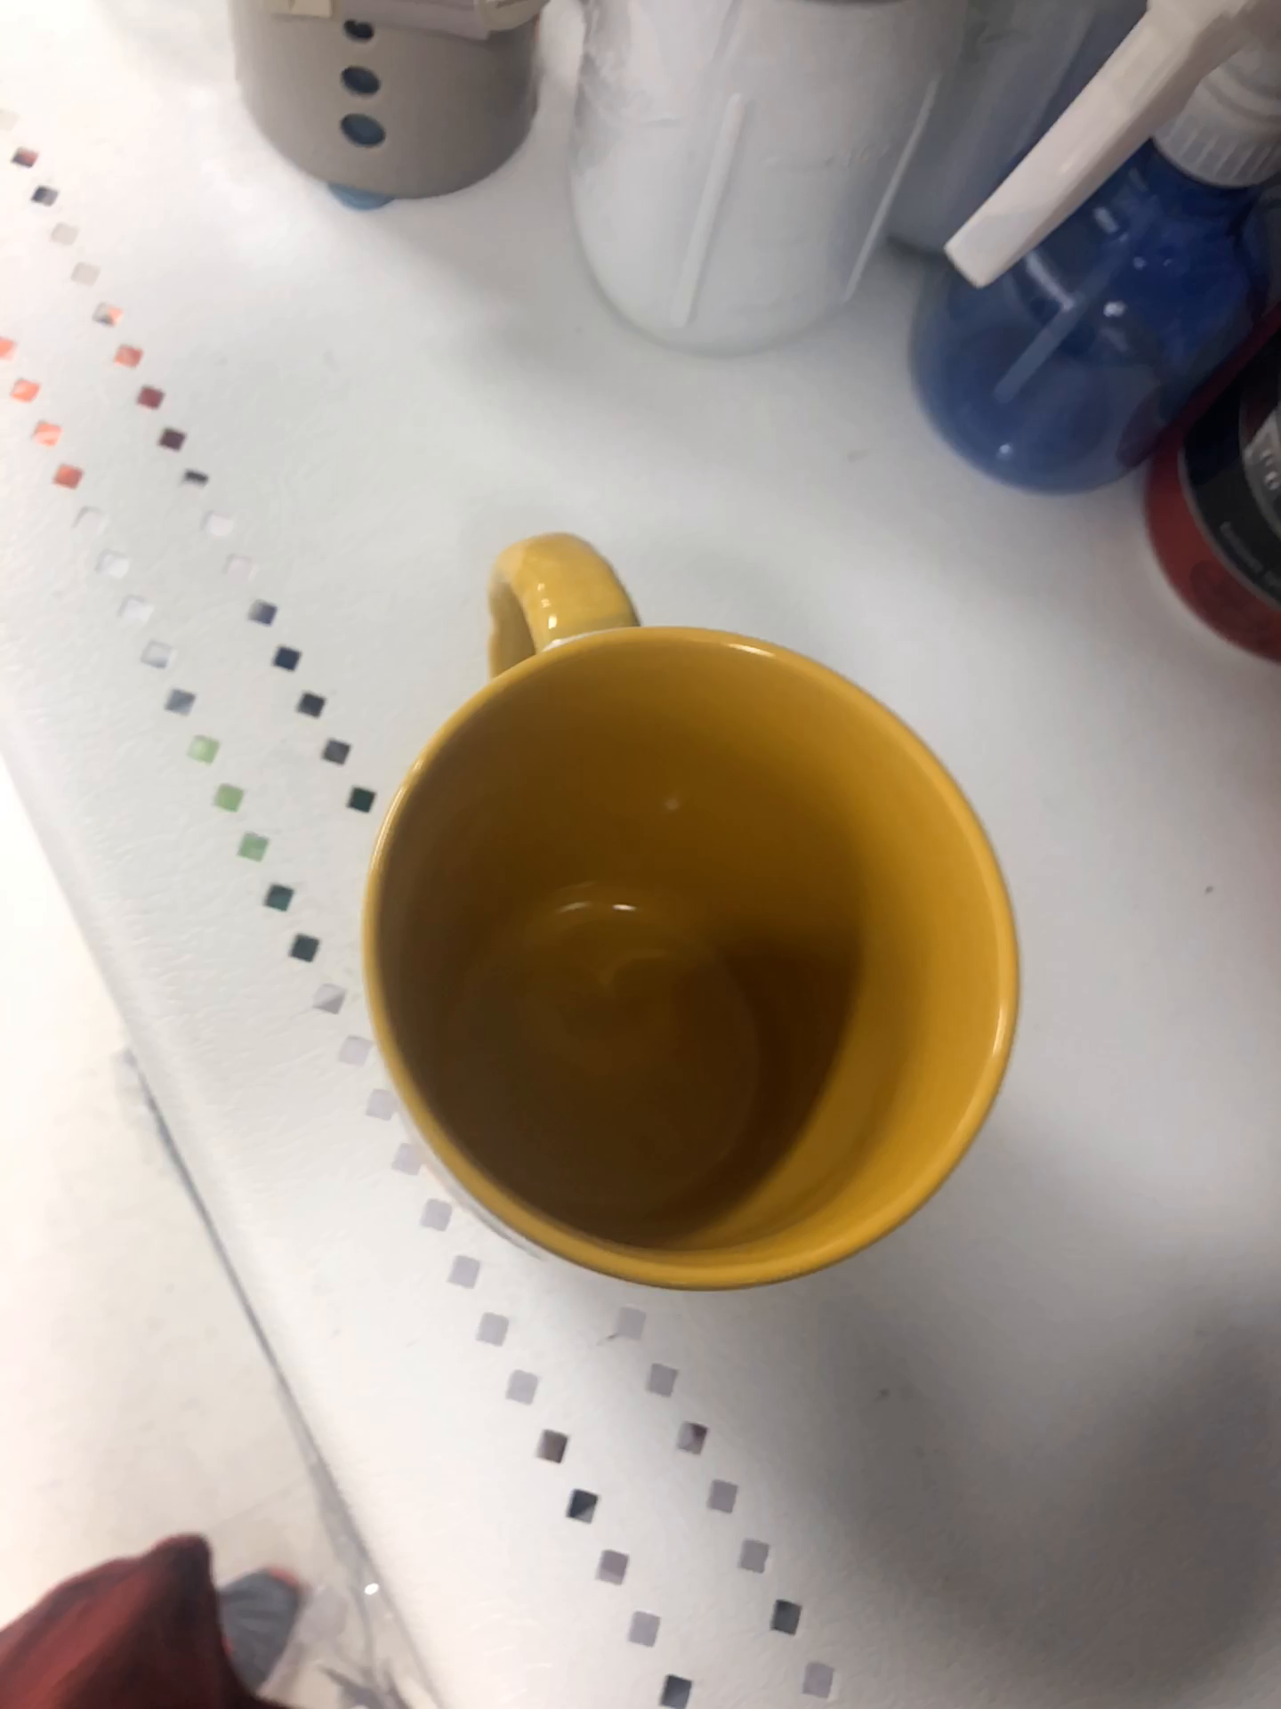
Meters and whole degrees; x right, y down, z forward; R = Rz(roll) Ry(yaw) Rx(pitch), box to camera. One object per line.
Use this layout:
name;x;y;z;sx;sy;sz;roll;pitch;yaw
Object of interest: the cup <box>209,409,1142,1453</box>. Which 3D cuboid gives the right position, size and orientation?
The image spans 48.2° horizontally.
cup;-0.004;0.015;0.249;0.099;0.093;0.133;-15;75;-14
